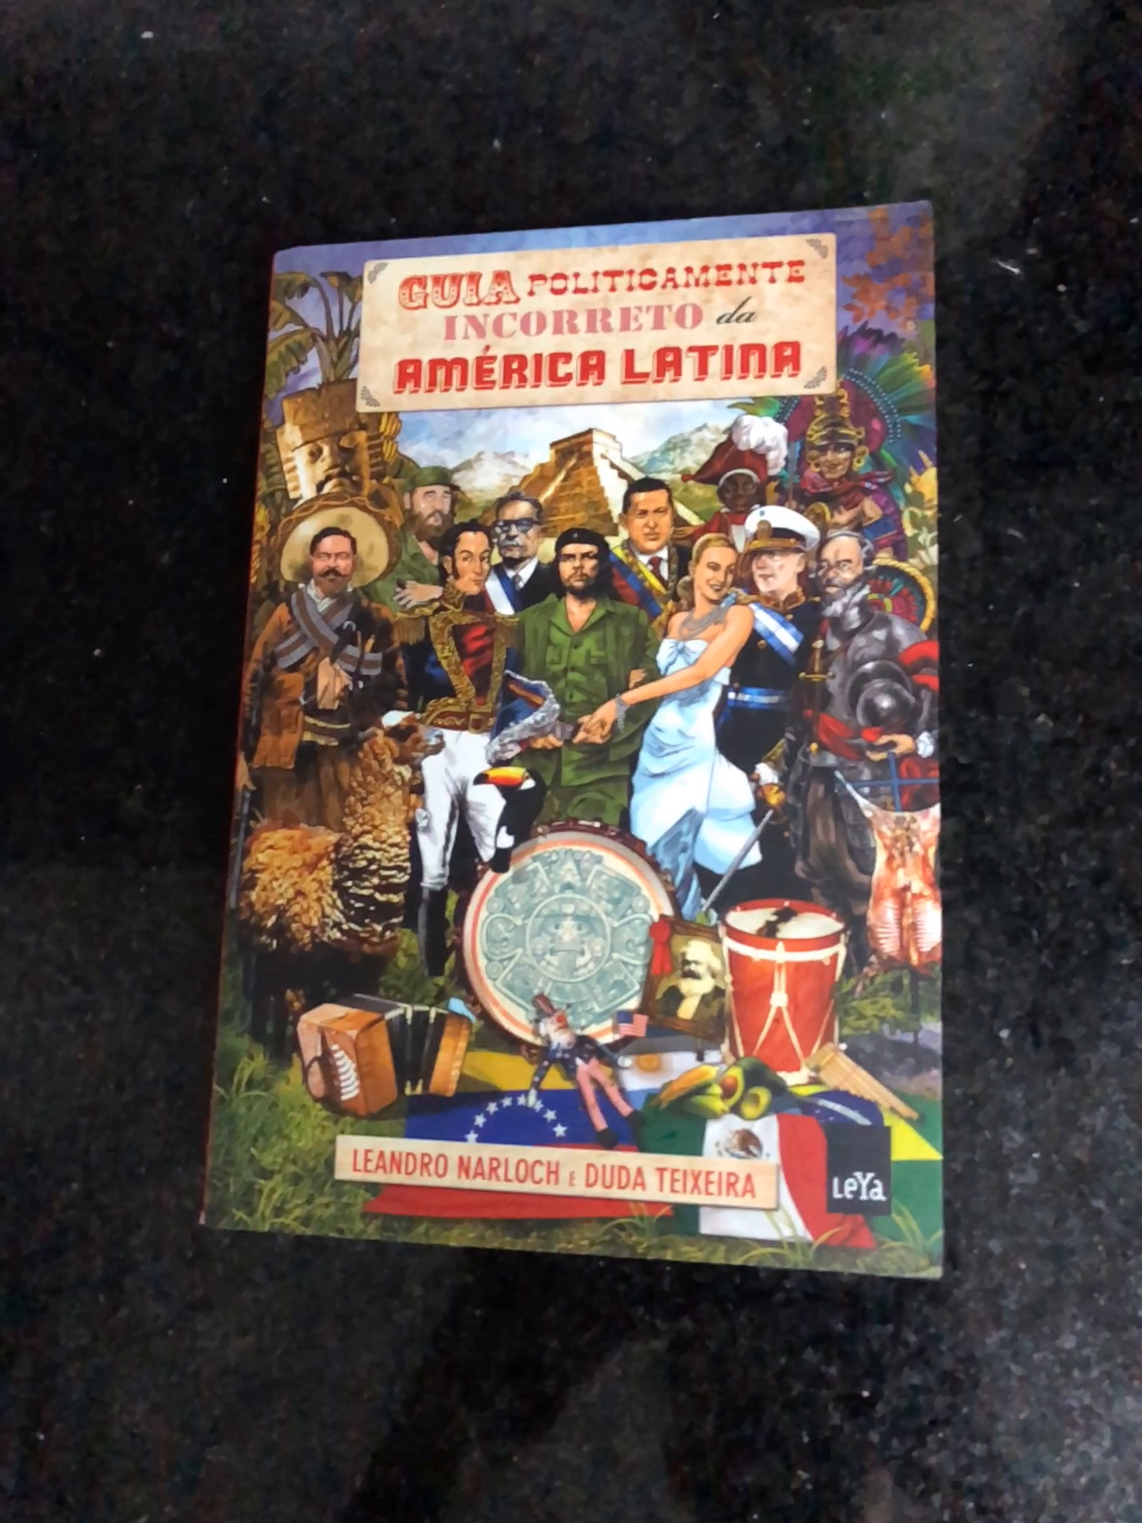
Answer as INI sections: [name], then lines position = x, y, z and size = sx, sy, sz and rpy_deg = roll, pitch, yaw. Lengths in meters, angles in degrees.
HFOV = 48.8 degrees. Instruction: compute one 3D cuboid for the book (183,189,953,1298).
[book]
position = 0.001, -0.008, 0.278
size = 0.150, 0.040, 0.220
rpy_deg = 0, 81, 10
